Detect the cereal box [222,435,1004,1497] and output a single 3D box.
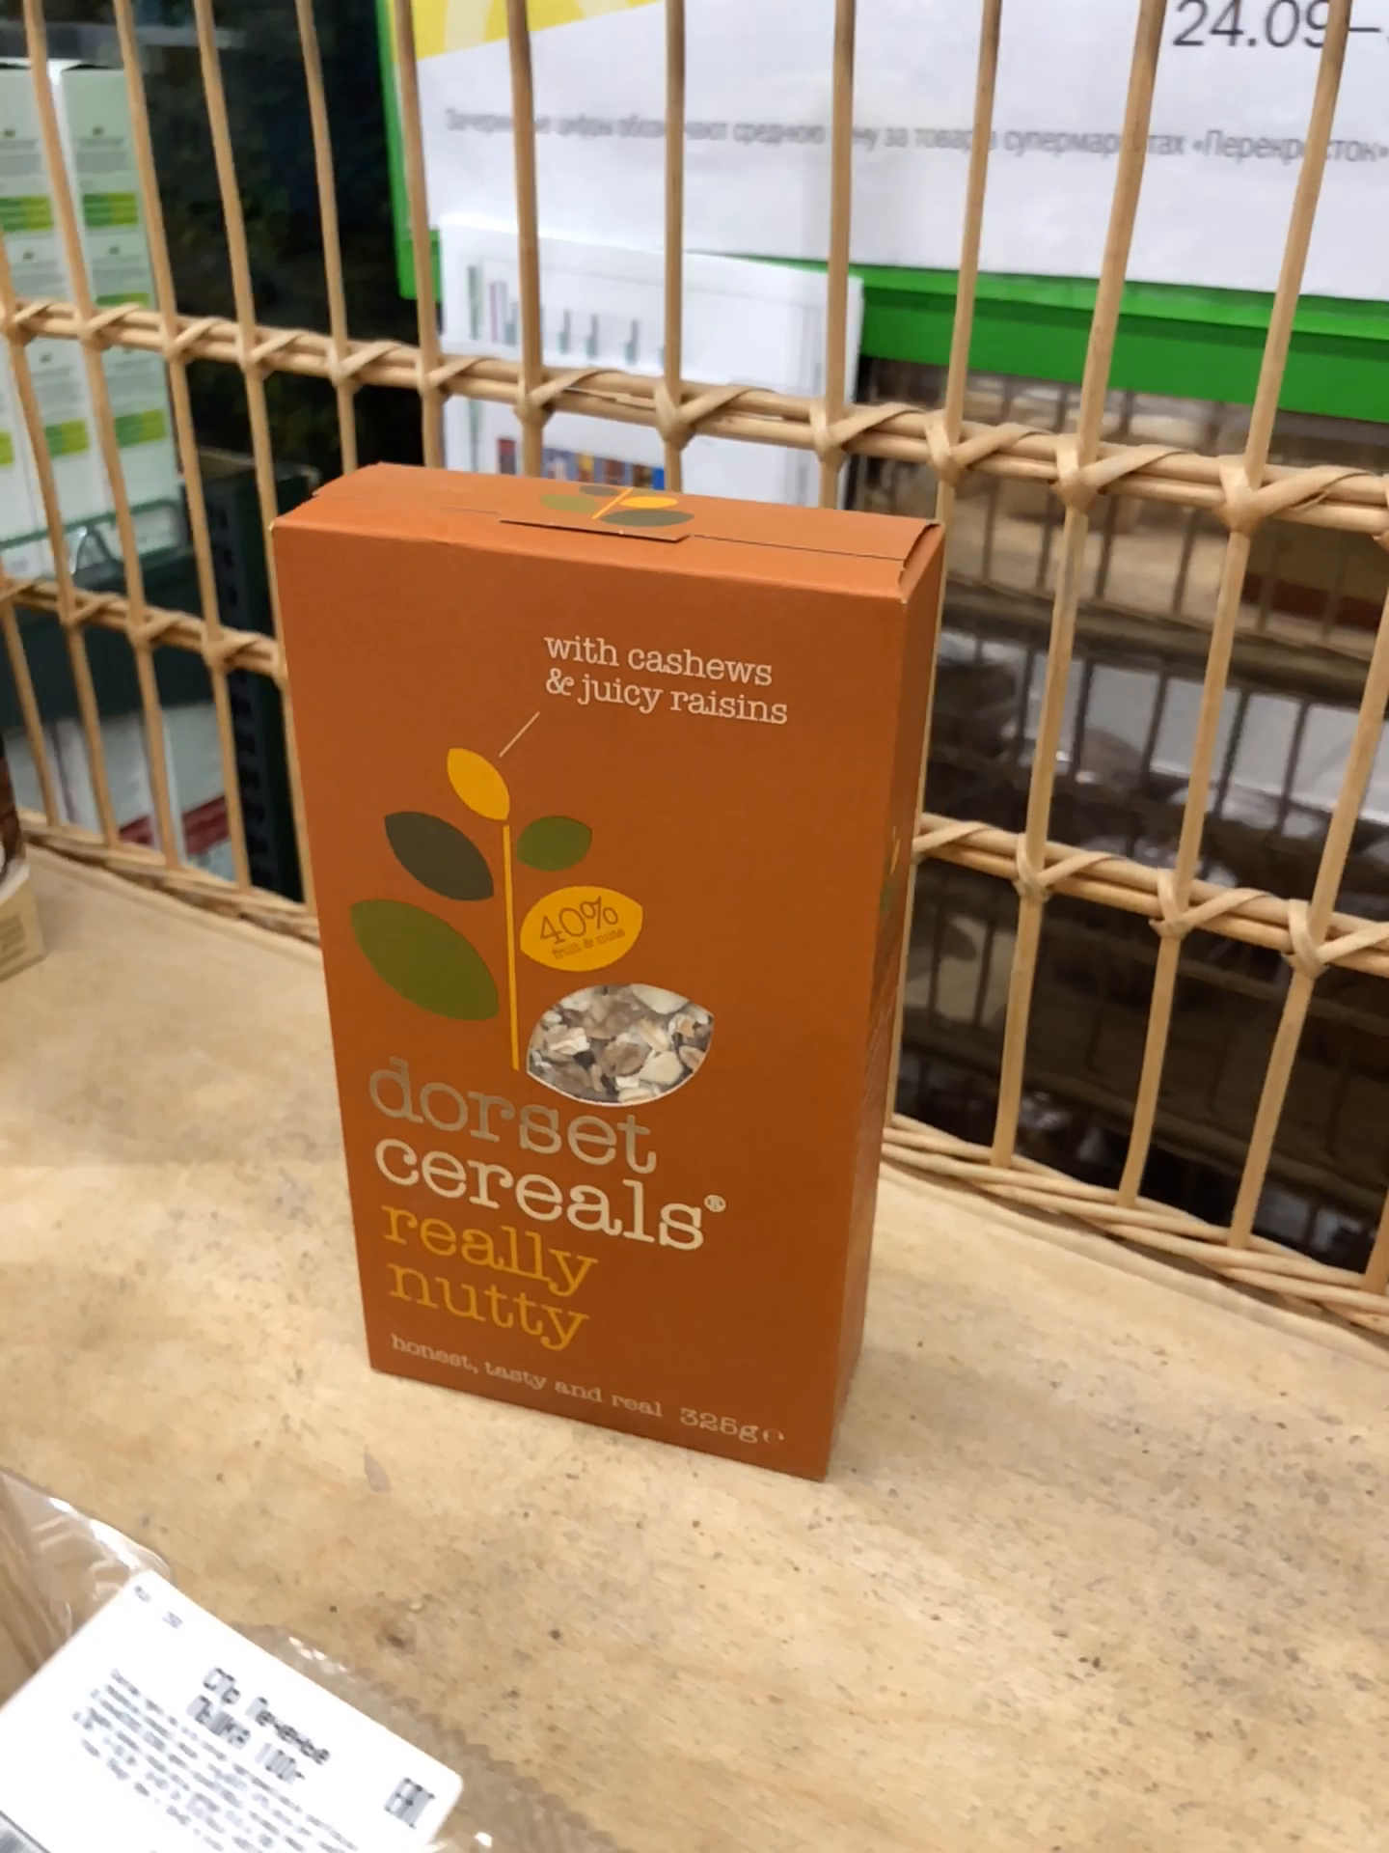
[{"bbox_3d":[-0.016,0.014,0.328,0.130,0.209,0.050,9,31,13],"label":"cereal box"}]
